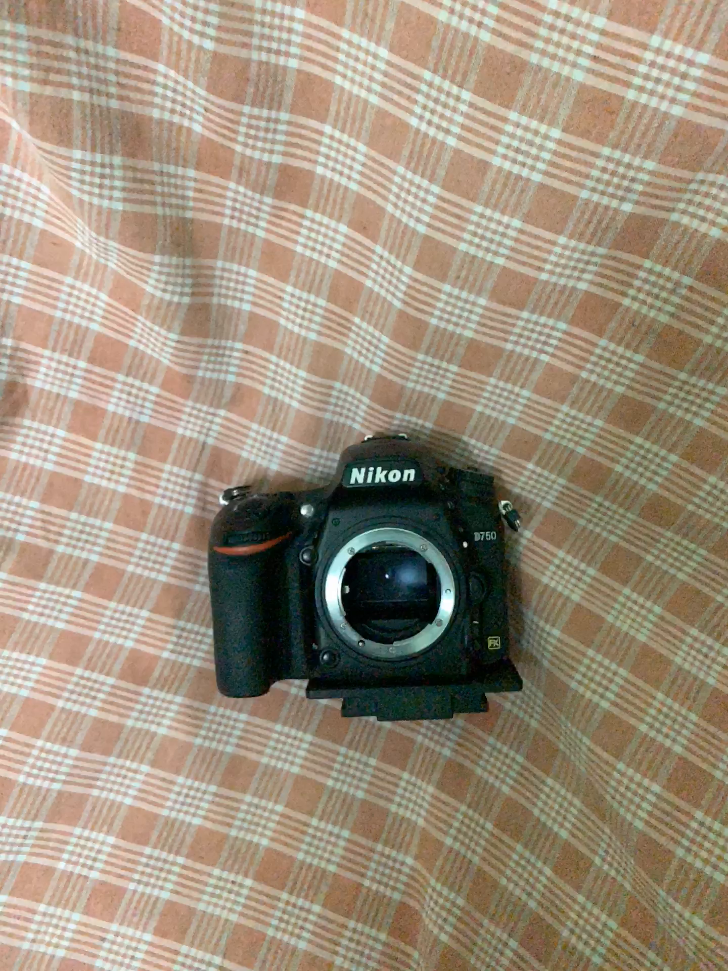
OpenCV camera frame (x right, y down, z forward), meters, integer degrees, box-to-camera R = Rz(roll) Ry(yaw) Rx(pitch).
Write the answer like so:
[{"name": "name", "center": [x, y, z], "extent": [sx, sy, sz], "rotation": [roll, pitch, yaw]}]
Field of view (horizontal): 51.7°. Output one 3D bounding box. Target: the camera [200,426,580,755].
[{"name": "camera", "center": [0.012, 0.041, 0.344], "extent": [0.145, 0.085, 0.125], "rotation": [-4, 93, 2]}]
